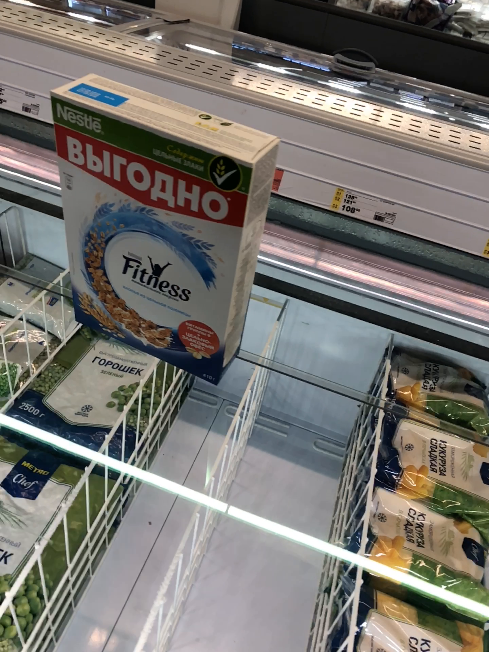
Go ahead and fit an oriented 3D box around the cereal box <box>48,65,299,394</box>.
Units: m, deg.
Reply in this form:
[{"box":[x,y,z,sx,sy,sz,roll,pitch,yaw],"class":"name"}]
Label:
[{"box":[-0.076,-0.080,0.525,0.200,0.268,0.060,24,45,14],"class":"cereal box"}]
